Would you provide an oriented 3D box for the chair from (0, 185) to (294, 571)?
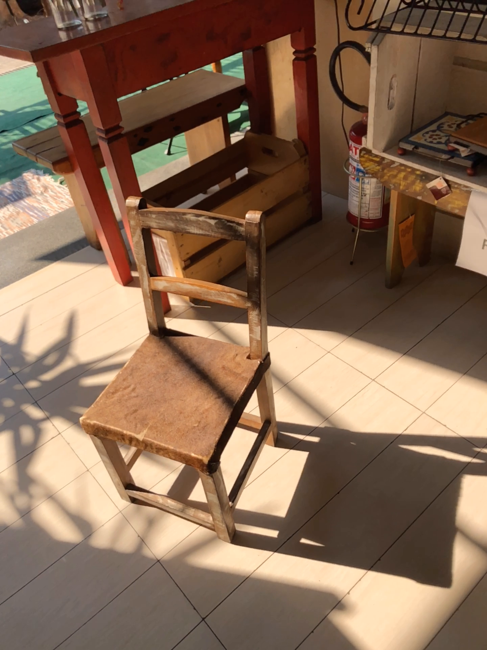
[{"bbox_3d":[-0.123,0.106,1.005,0.301,0.596,0.342,12,44,23],"label":"chair"}]
